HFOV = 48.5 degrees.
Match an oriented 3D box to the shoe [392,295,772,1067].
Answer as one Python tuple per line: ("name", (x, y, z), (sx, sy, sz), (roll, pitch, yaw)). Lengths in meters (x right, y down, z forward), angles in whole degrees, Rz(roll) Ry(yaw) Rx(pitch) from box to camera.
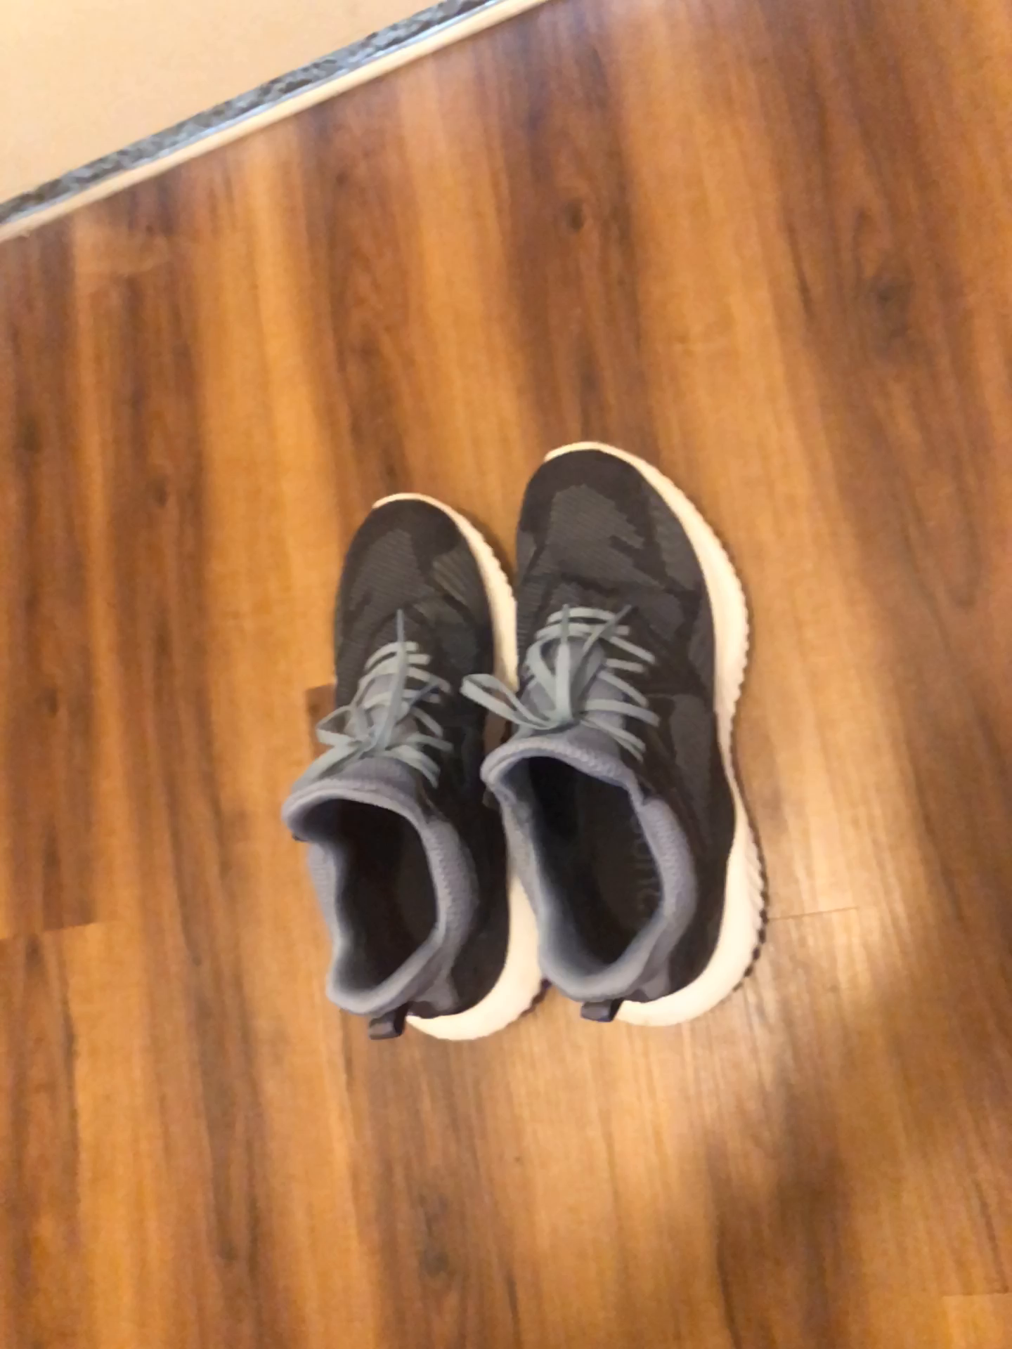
("shoe", (0.039, 0.010, 0.560), (0.131, 0.130, 0.334), (-8, 78, 21))

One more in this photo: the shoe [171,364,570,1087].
("shoe", (-0.072, 0.031, 0.605), (0.133, 0.135, 0.333), (-12, 77, 21))
